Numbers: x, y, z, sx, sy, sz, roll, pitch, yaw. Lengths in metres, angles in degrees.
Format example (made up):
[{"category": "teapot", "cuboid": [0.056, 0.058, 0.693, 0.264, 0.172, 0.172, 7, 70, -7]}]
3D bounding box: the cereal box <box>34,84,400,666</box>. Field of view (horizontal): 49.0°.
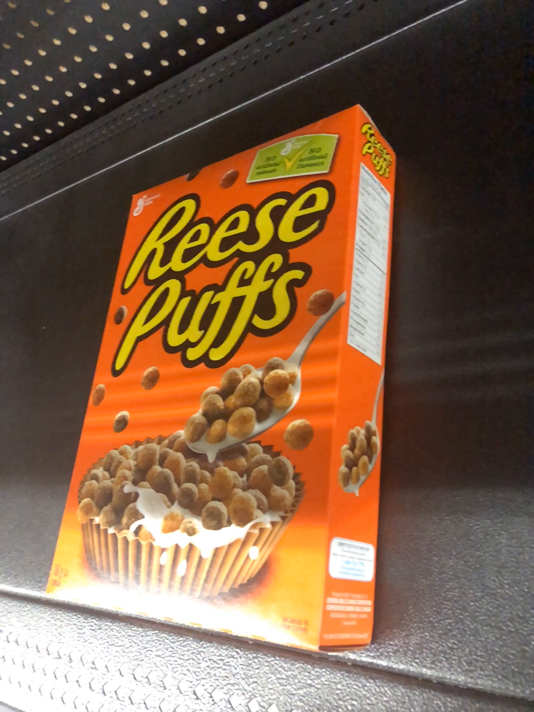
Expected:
[{"category": "cereal box", "cuboid": [-0.028, 0.005, 0.356, 0.201, 0.050, 0.291, -8, 66, 36]}]
